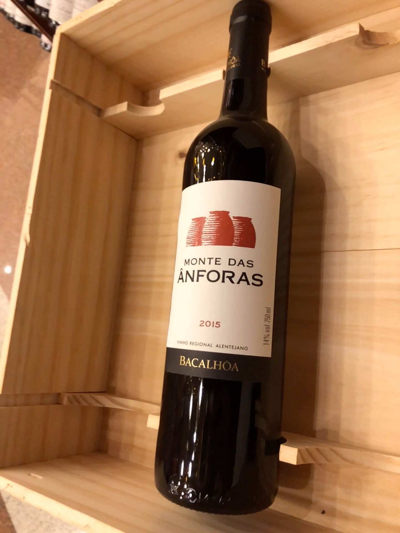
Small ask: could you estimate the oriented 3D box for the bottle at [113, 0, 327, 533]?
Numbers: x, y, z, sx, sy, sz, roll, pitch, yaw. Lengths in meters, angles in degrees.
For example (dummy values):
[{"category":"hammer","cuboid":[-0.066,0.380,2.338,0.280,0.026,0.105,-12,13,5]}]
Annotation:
[{"category":"bottle","cuboid":[0.017,-0.024,0.274,0.080,0.060,0.320,1,81,36]}]
